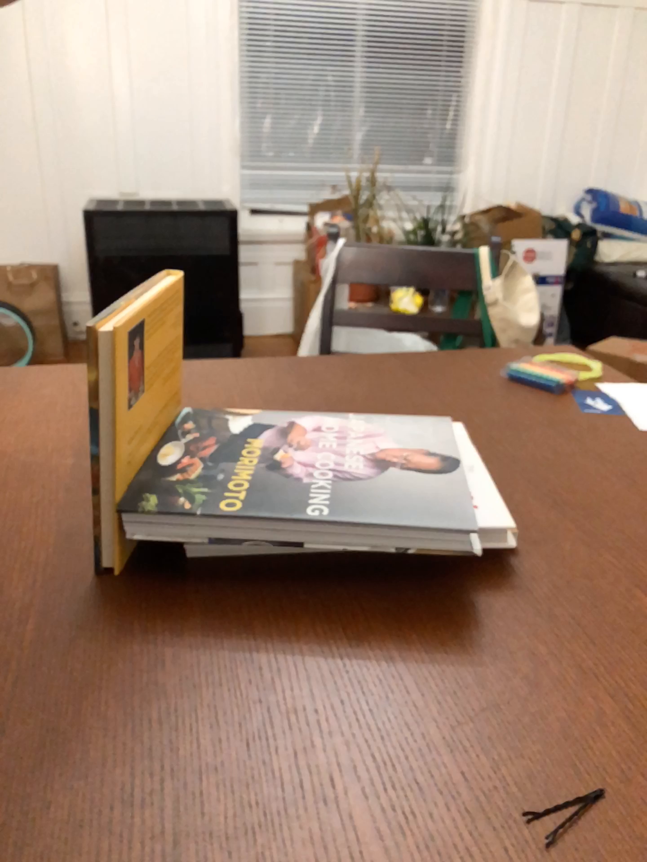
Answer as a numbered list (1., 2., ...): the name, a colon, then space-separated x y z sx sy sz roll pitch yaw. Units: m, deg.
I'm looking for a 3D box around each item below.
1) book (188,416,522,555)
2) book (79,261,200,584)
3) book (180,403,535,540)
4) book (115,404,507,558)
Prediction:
1. book: 0.019 0.043 0.706 0.280 0.030 0.221 -2 23 -5
2. book: -0.146 -0.020 0.616 0.030 0.209 0.211 5 24 3
3. book: 0.023 0.028 0.672 0.280 0.030 0.221 -1 23 -3
4. book: -0.006 0.032 0.620 0.280 0.030 0.221 1 23 2
